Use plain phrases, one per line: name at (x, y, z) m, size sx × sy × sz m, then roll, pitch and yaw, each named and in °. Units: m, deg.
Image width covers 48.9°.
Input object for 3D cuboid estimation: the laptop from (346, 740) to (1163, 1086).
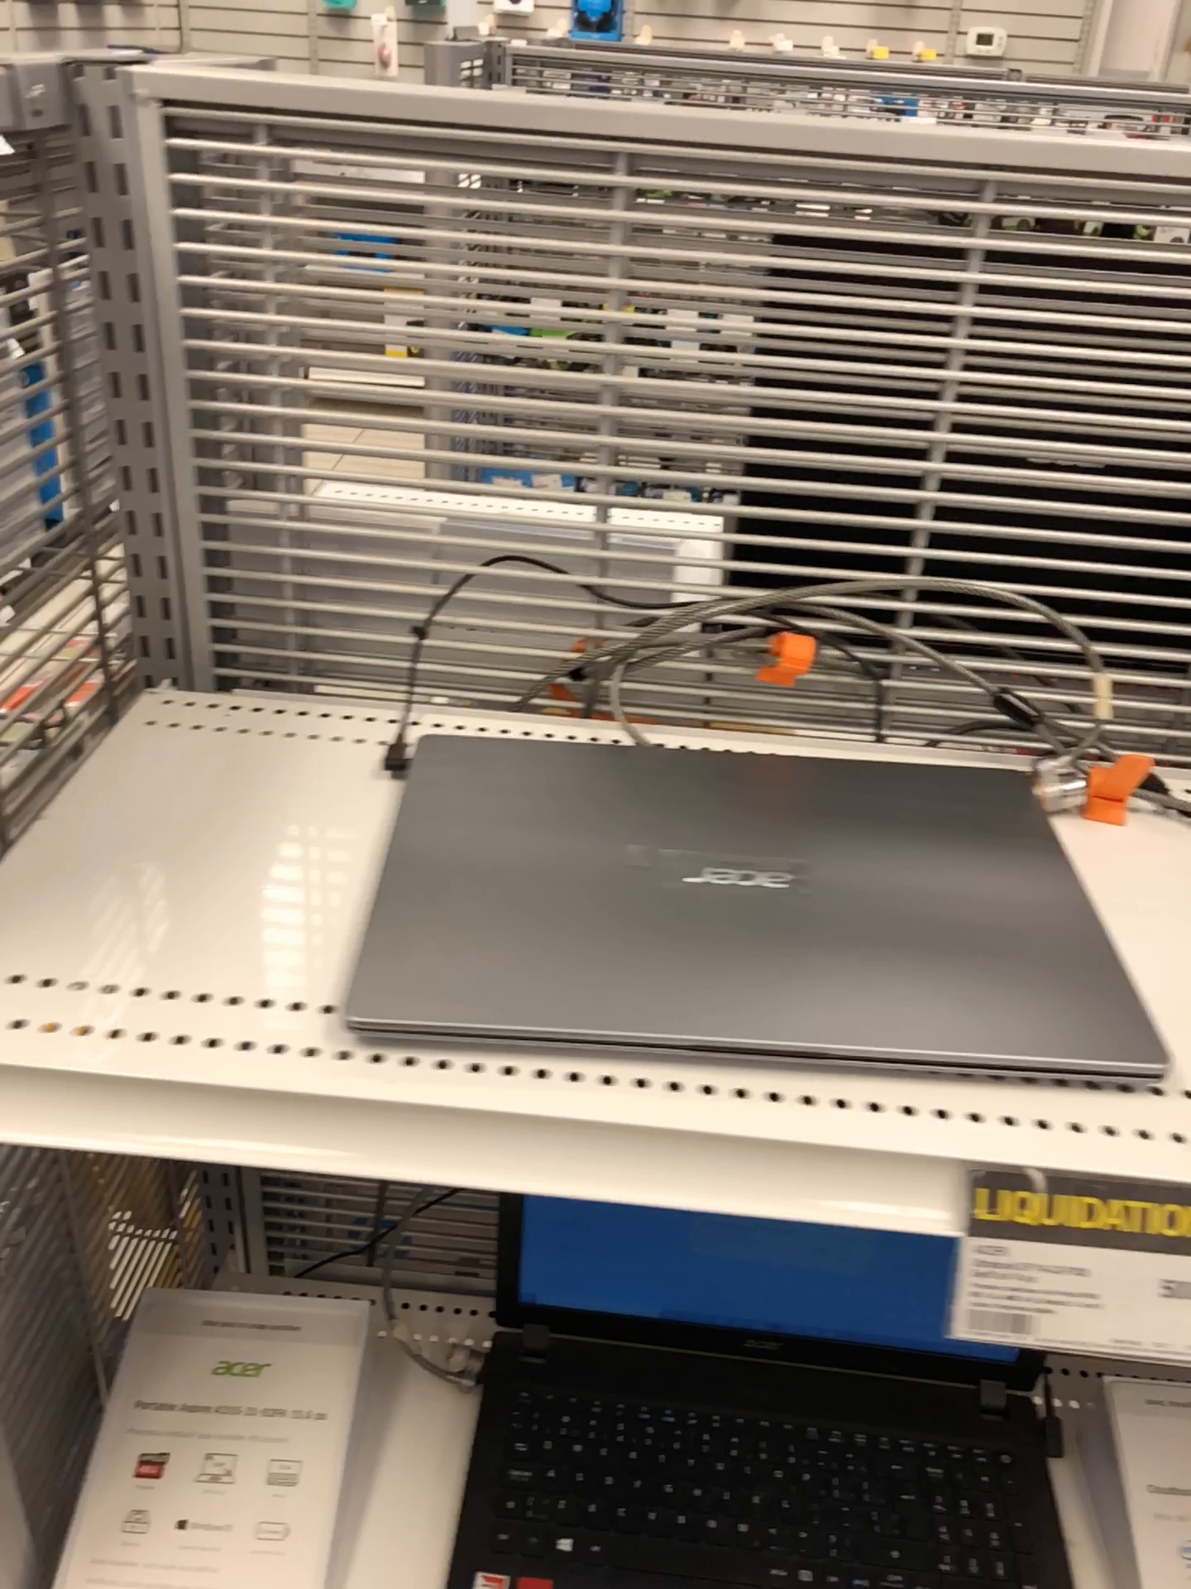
laptop at (0.064, 0.042, 0.600) m, size 0.315 × 0.006 × 0.220 m, roll 3°, pitch 32°, yaw 0°
